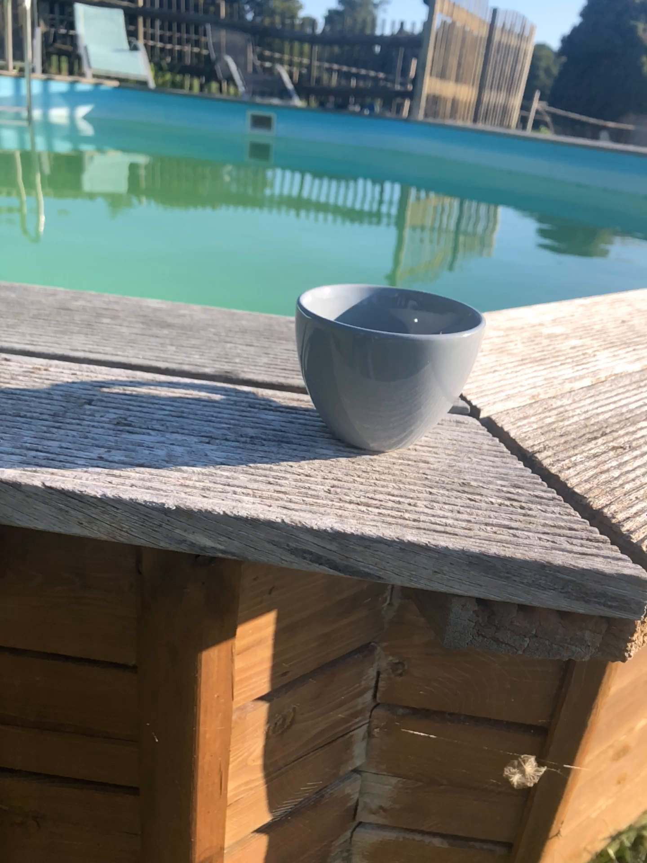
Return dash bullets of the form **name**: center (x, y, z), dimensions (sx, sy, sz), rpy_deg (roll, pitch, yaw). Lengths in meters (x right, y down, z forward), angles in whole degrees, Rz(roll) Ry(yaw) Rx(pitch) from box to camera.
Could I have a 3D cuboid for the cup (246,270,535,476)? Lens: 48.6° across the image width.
- **cup**: center (0.033, -0.036, 0.343), dimensions (0.091, 0.052, 0.106), rpy_deg (22, 29, 30)
